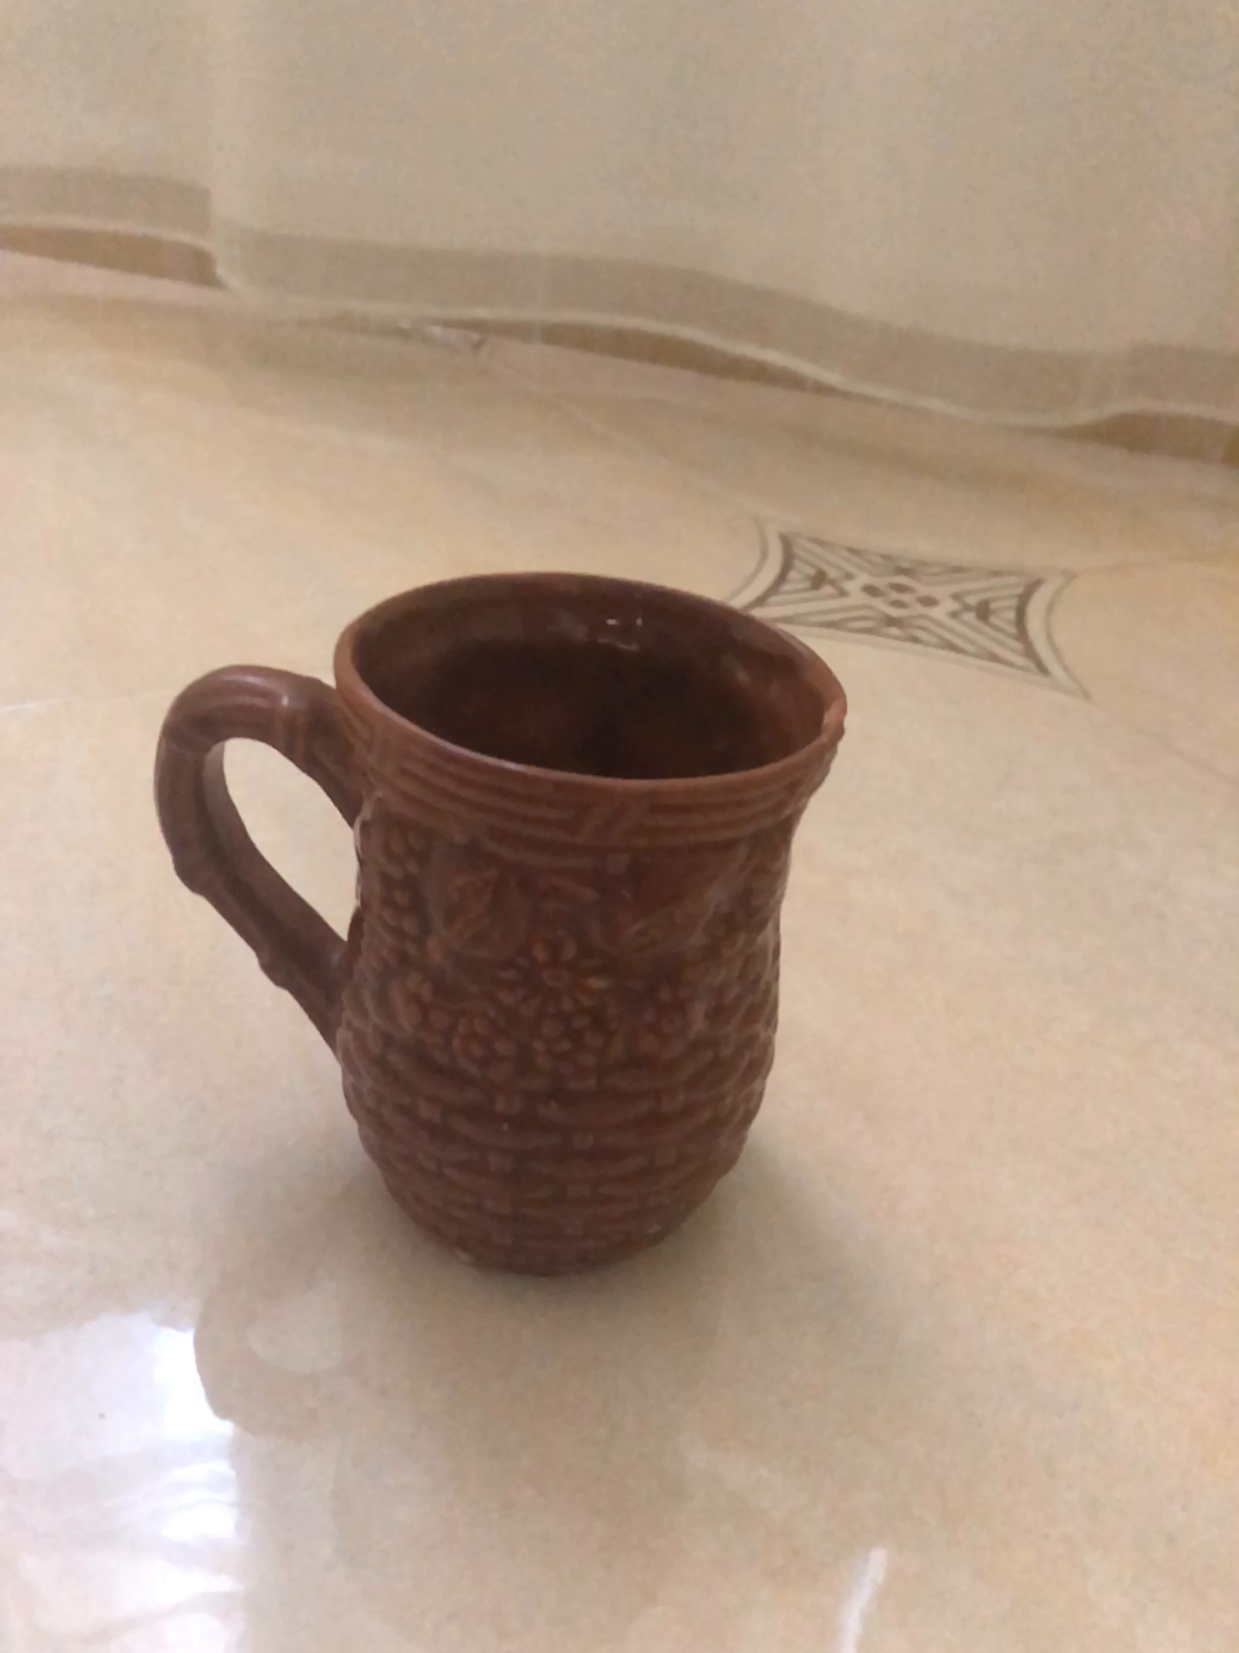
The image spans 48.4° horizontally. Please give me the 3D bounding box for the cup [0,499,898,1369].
[{"bbox_3d":[-0.024,0.009,0.211,0.104,0.081,0.073,16,31,15],"label":"cup"}]
